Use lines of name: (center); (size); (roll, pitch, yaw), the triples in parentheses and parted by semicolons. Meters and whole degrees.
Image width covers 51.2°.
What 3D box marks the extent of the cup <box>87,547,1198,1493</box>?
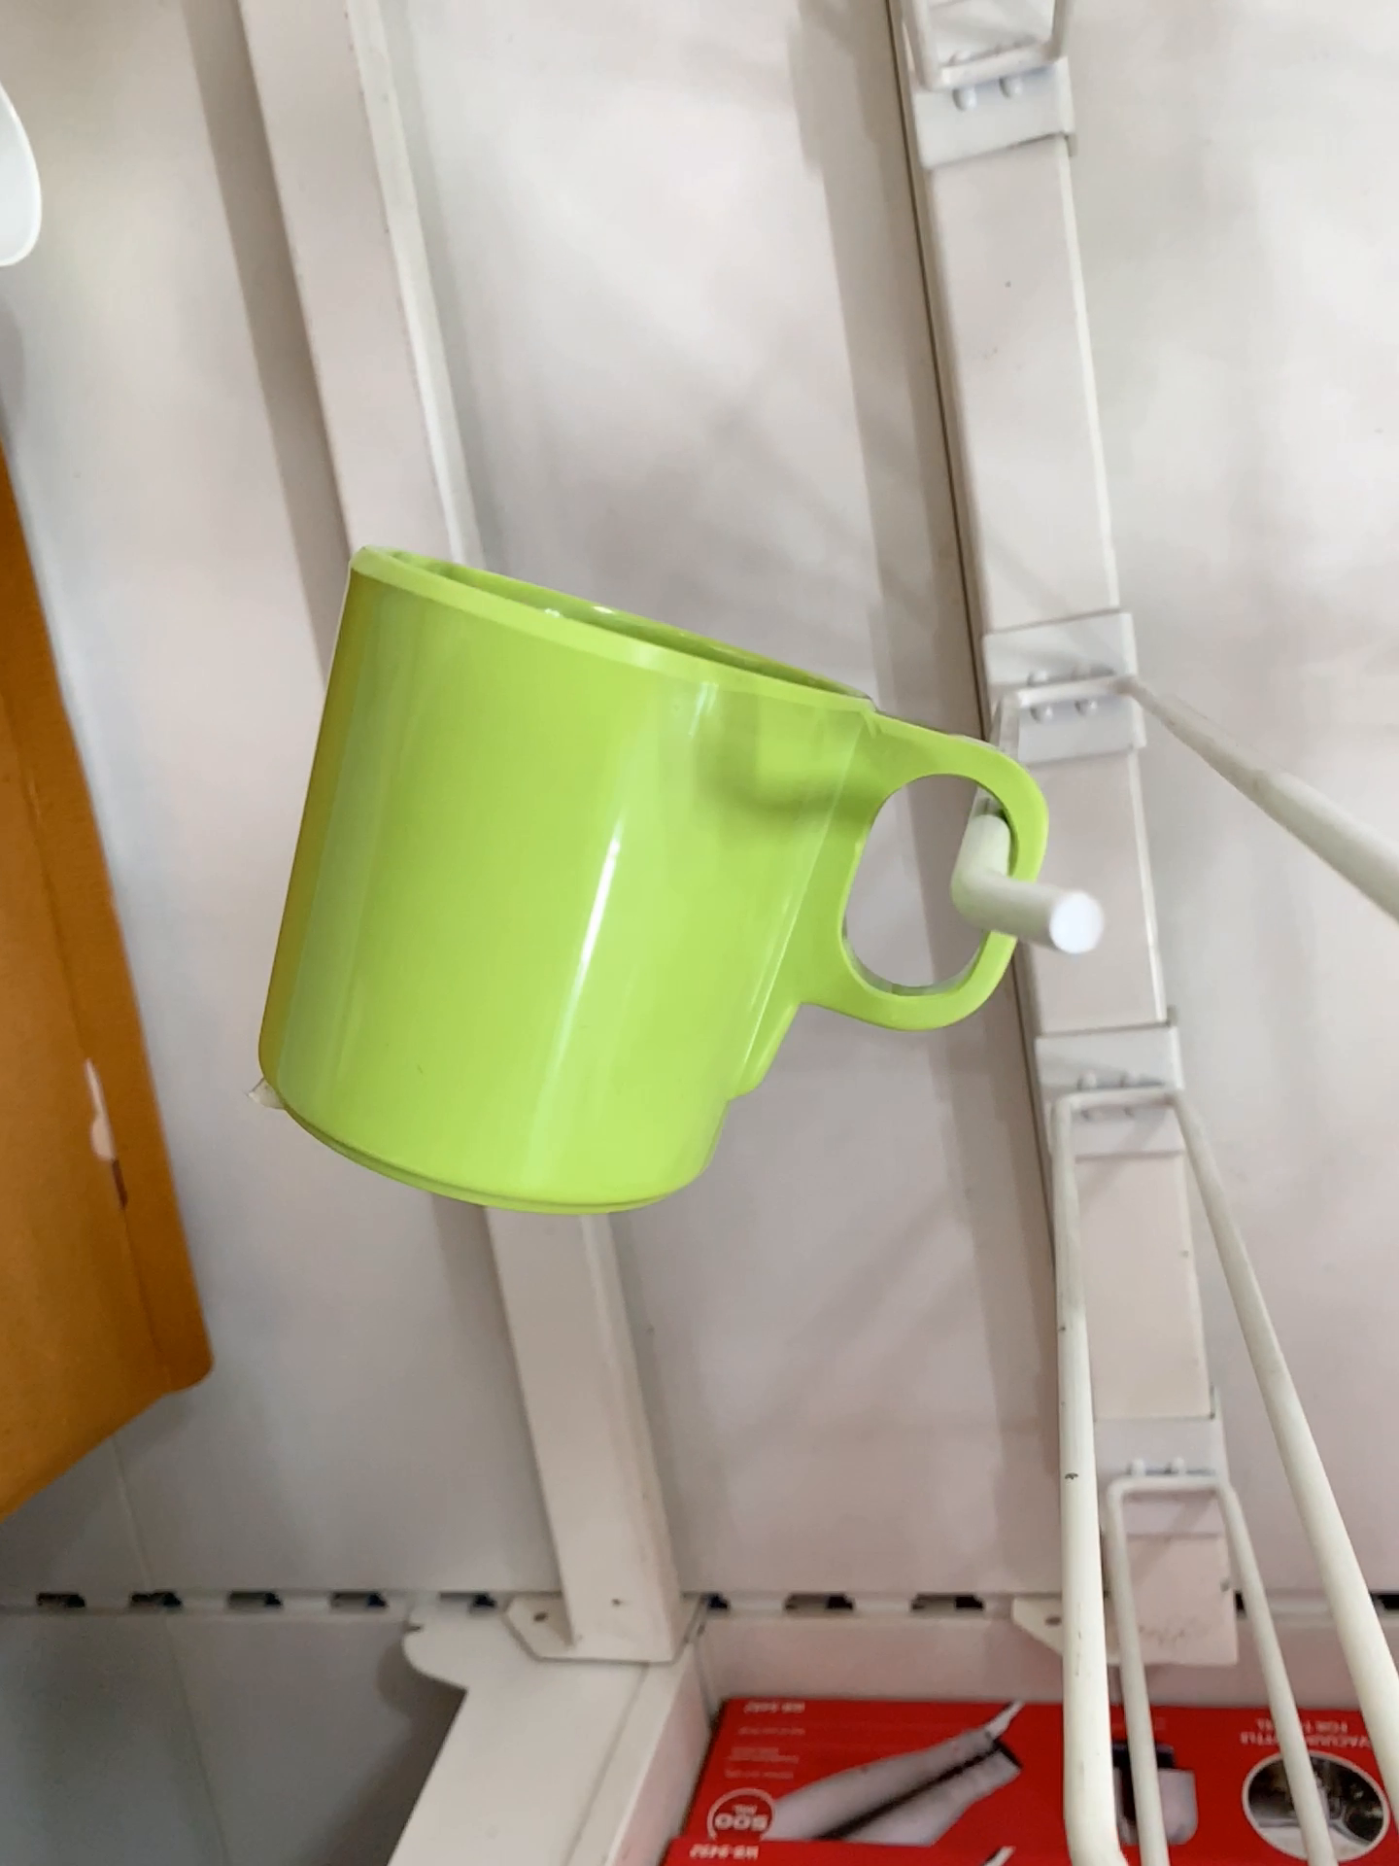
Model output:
cup: (-0.004, 0.000, 0.213); (0.100, 0.110, 0.080); (-59, 166, -74)
